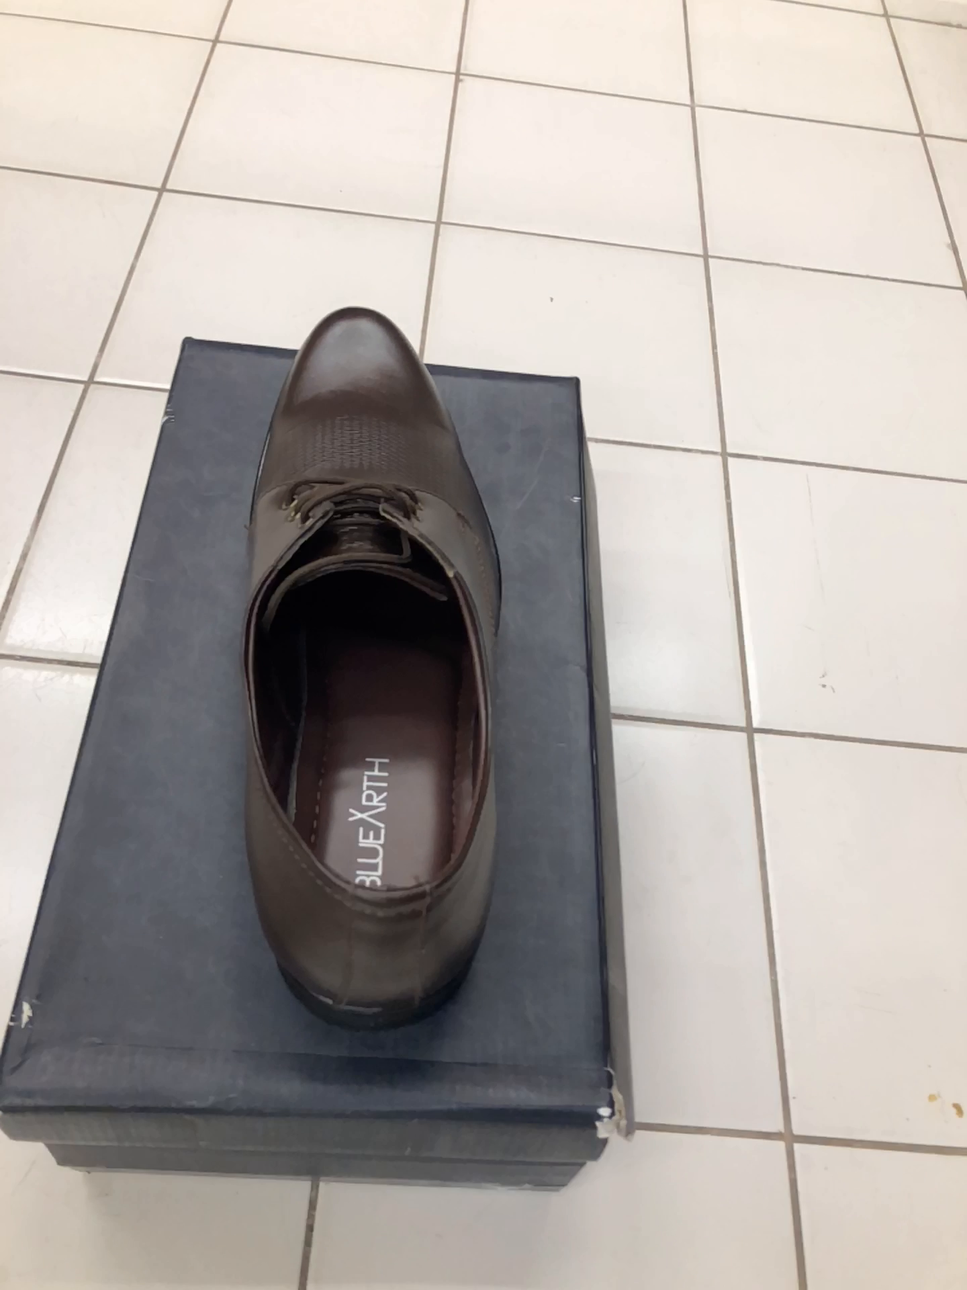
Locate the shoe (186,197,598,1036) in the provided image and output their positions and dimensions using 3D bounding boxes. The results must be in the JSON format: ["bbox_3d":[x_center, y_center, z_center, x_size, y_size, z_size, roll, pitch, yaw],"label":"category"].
[{"bbox_3d":[-0.041,-0.023,0.391,0.104,0.109,0.291,-1,58,-8],"label":"shoe"}]
